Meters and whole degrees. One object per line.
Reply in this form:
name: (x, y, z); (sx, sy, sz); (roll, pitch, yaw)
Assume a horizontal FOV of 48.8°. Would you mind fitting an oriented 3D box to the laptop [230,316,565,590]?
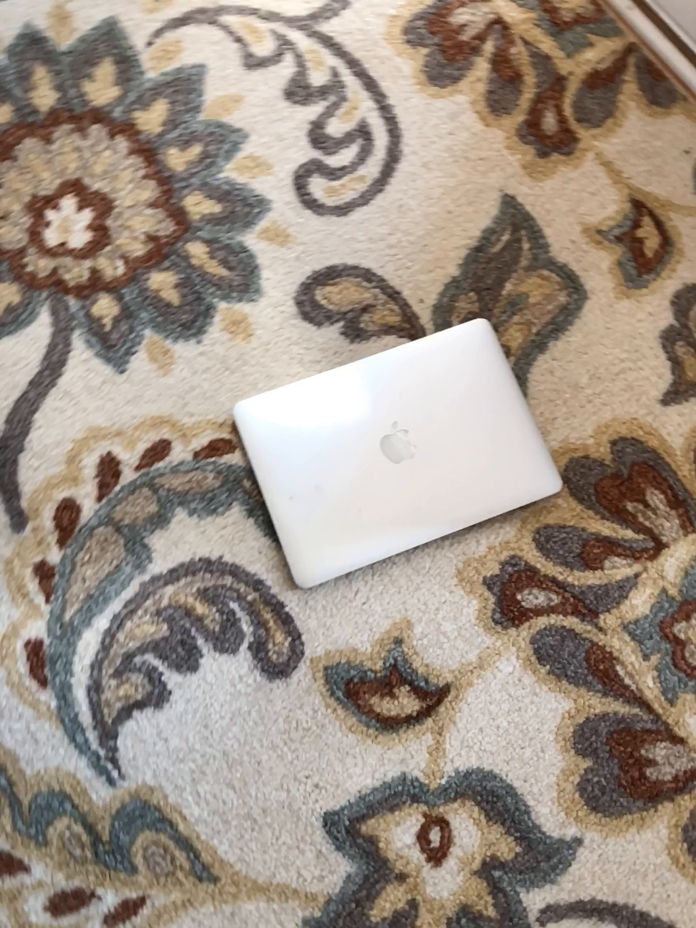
laptop: (0.051, -0.018, 0.804); (0.295, 0.001, 0.207); (-20, 79, -6)
